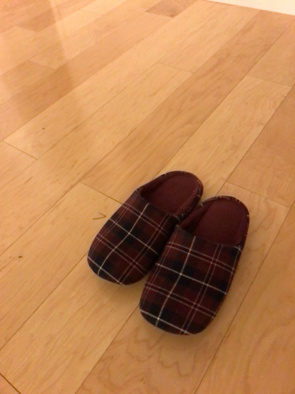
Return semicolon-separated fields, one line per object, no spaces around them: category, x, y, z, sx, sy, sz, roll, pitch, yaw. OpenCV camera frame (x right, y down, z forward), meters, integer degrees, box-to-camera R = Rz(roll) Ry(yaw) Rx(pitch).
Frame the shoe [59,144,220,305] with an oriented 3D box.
shoe;-0.002;0.027;0.523;0.120;0.050;0.261;27;57;26

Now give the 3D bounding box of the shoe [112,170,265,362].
shoe;0.074;0.082;0.488;0.120;0.050;0.271;21;54;21
